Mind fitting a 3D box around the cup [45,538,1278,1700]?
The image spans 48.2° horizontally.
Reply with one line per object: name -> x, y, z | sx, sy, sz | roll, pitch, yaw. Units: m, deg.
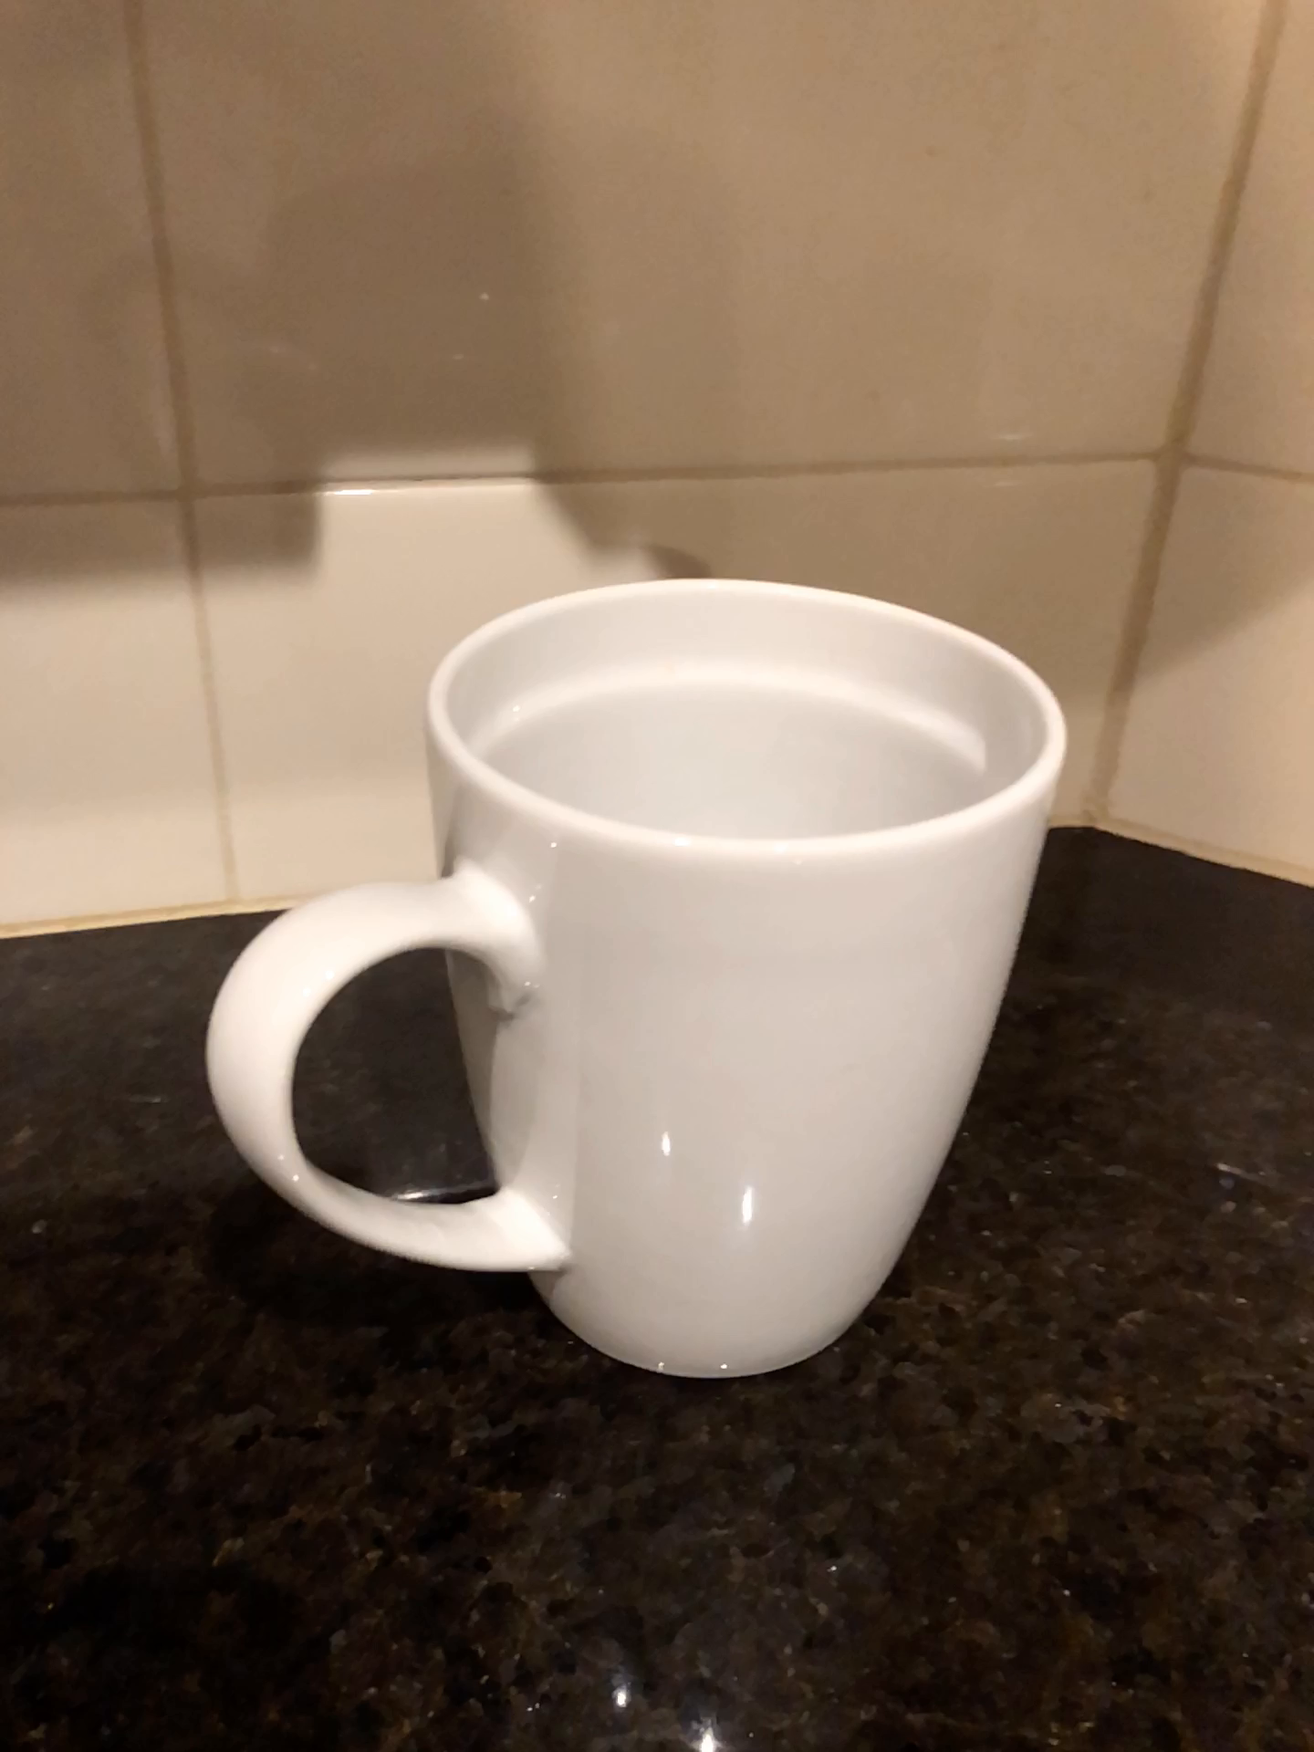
cup -> 0.001, 0.018, 0.210 | 0.130, 0.090, 0.090 | -19, 37, -33
